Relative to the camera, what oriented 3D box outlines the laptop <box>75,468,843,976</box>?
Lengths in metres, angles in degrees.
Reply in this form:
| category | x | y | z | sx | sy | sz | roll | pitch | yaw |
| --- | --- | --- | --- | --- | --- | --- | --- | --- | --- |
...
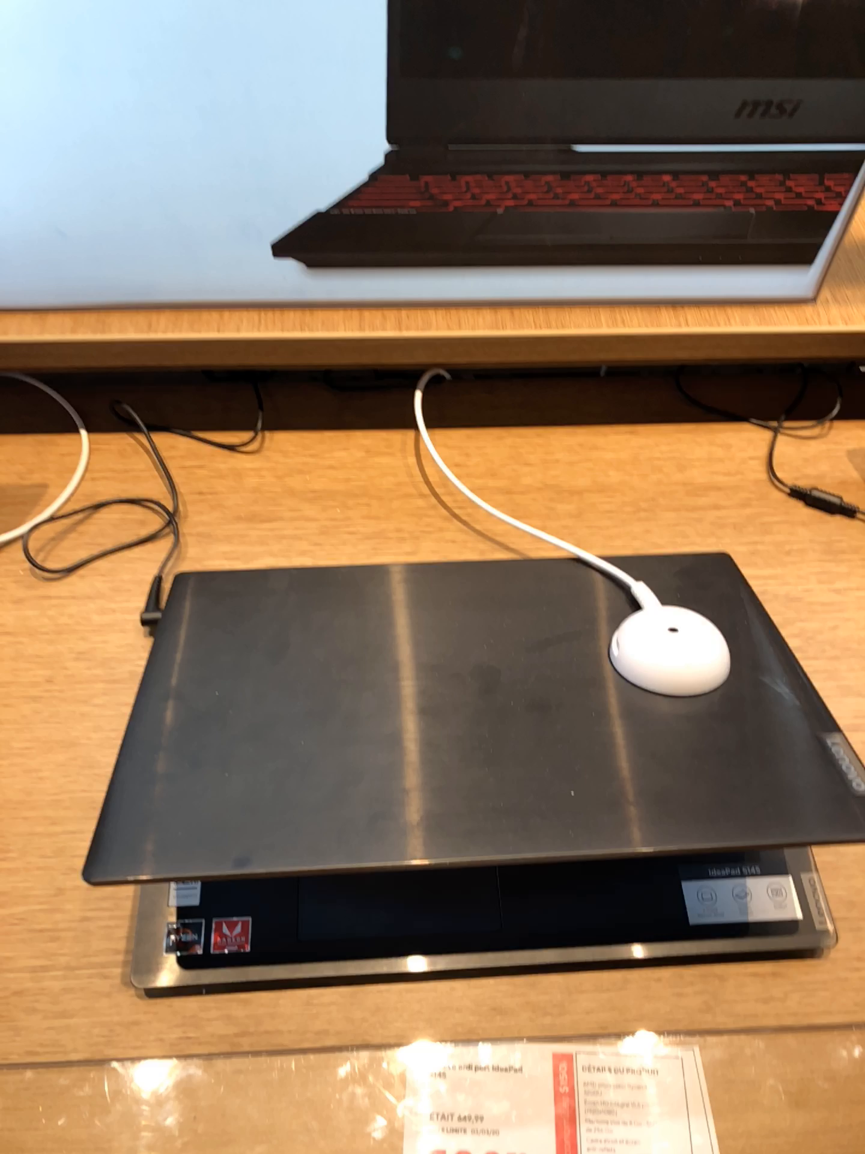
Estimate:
| category | x | y | z | sx | sy | sz | roll | pitch | yaw |
| --- | --- | --- | --- | --- | --- | --- | --- | --- | --- |
| laptop | 0.012 | 0.064 | 0.500 | 0.330 | 0.083 | 0.224 | -2 | 57 | -6 |
